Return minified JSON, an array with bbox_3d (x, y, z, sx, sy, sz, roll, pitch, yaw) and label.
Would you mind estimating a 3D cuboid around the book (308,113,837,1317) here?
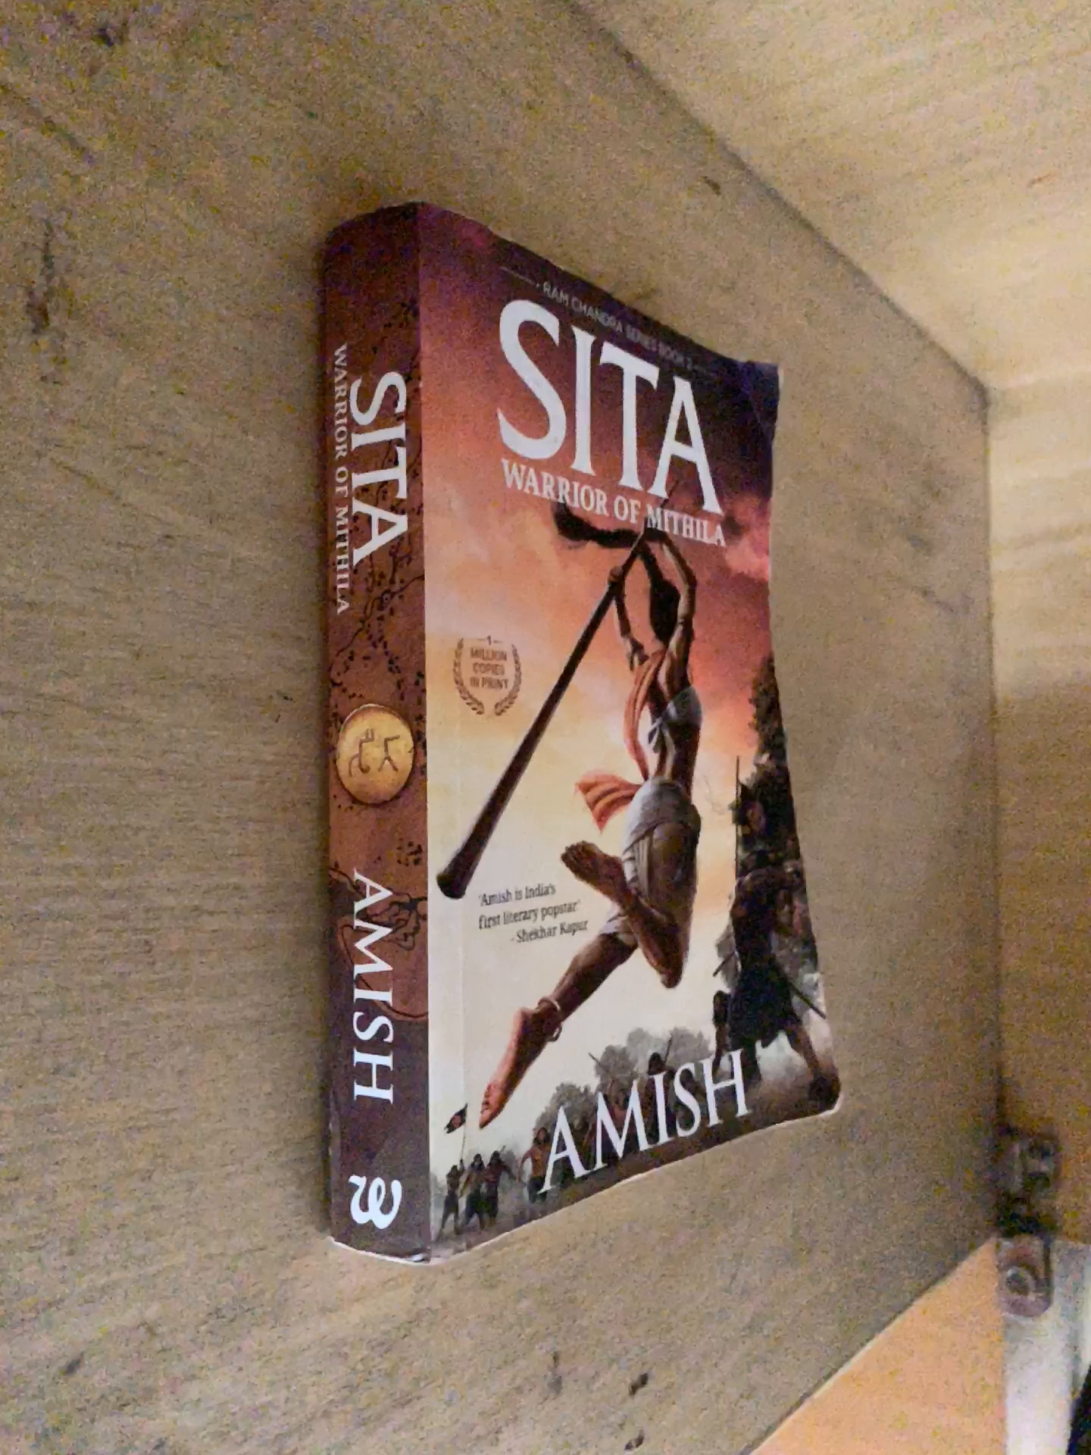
[{"bbox_3d":[0.015,-0.003,0.252,0.141,0.030,0.200,2,86,-49],"label":"book"}]
